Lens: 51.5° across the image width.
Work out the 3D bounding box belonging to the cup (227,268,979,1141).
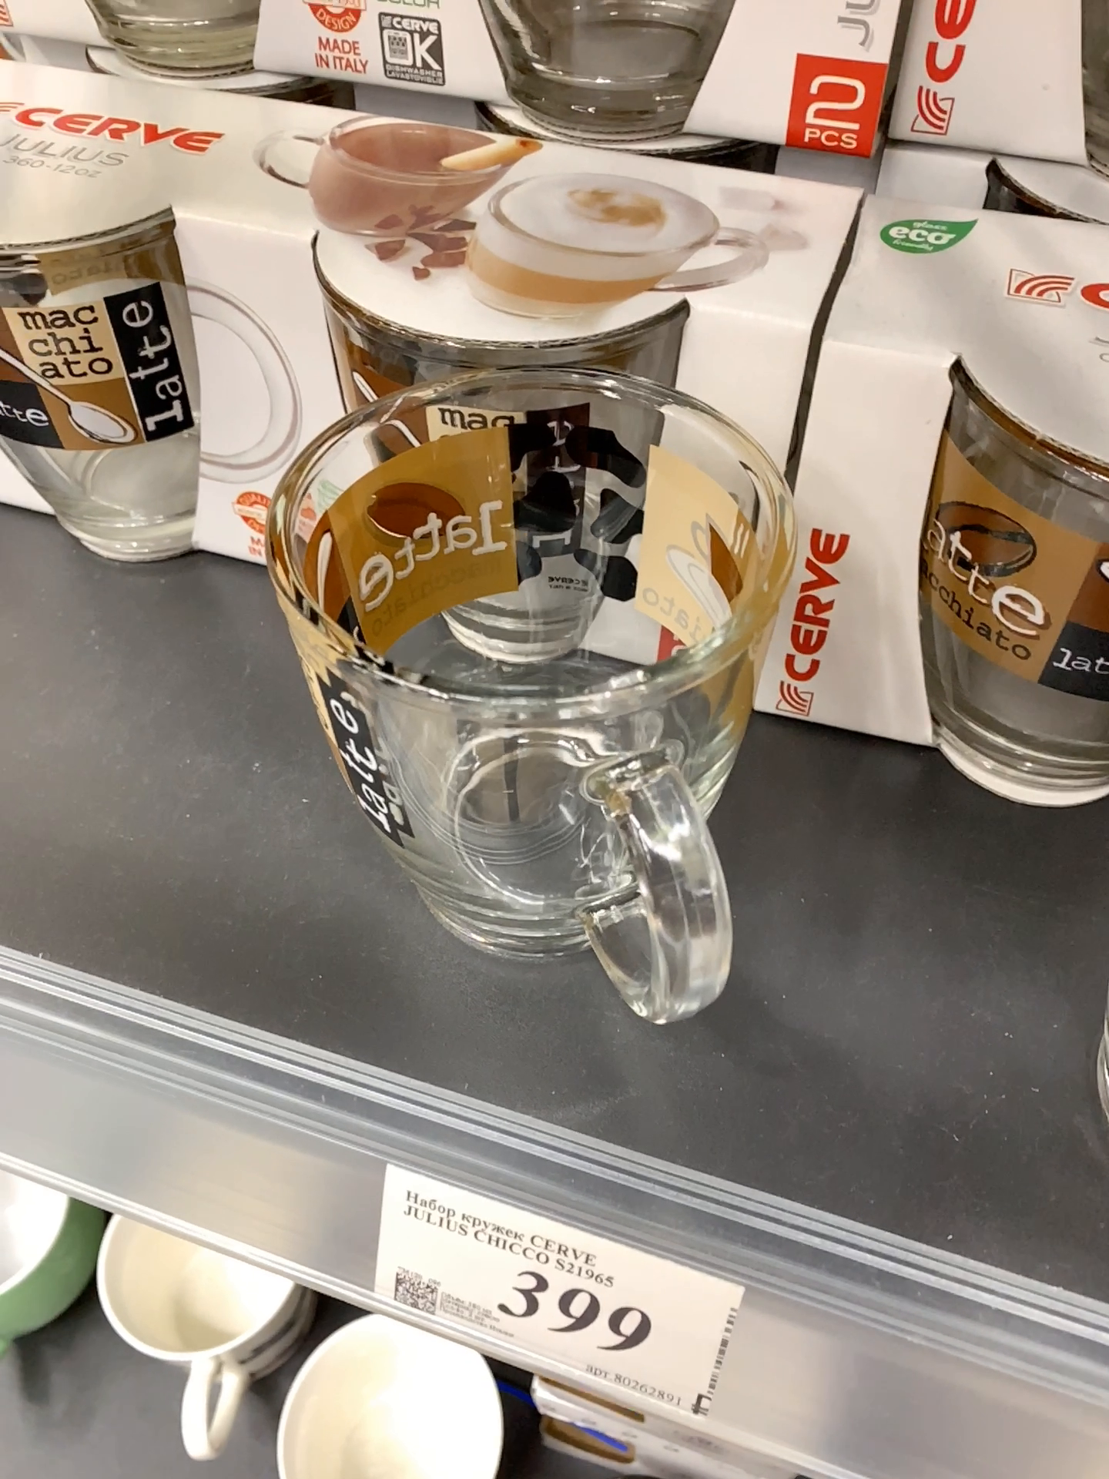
[{"bbox_3d":[-0.002,-0.011,0.210,0.084,0.086,0.119,-13,50,-10],"label":"cup"}]
